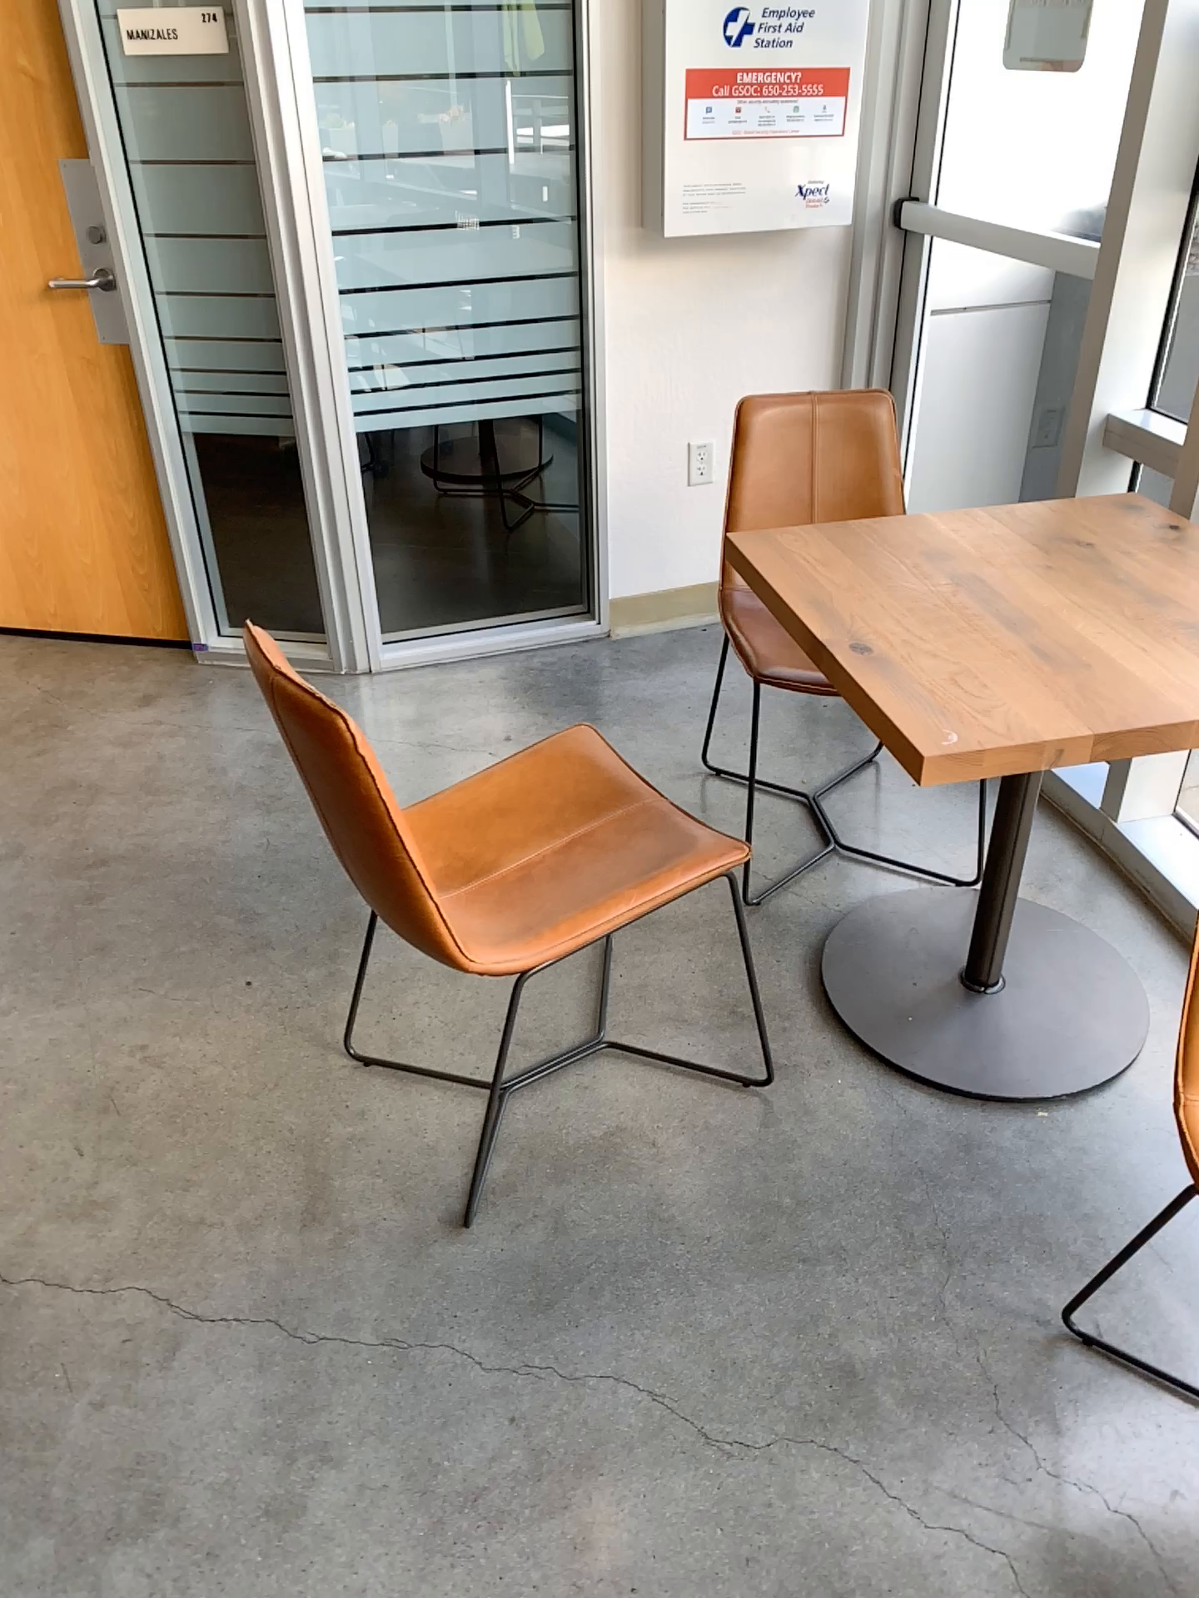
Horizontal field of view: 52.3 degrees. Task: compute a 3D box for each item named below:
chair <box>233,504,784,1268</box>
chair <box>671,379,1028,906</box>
[{"bbox_3d":[-0.099,0.115,1.810,0.540,0.865,0.493,-23,38,-24],"label":"chair"},{"bbox_3d":[0.436,-0.325,2.430,0.490,0.865,0.553,-5,28,-6],"label":"chair"}]
